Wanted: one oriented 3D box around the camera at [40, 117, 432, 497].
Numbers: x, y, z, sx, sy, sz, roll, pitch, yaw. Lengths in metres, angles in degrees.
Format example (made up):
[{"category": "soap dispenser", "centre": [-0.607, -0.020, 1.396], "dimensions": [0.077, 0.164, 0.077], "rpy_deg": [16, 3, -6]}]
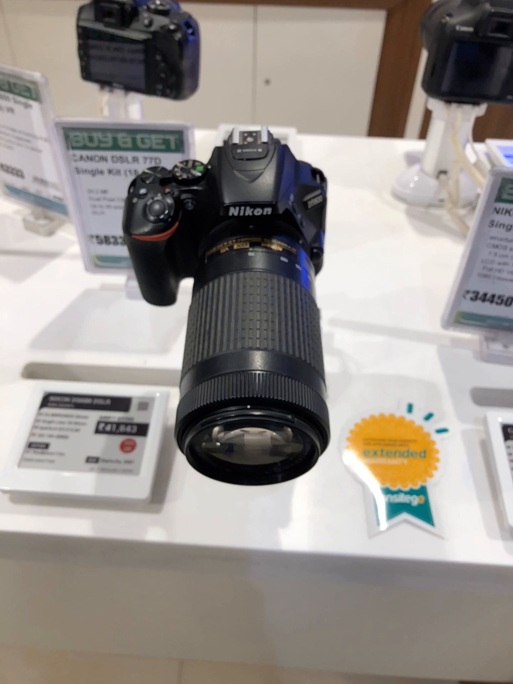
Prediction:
[{"category": "camera", "centre": [-0.006, -0.032, 0.308], "dimensions": [0.140, 0.089, 0.201], "rpy_deg": [2, 44, 0]}]
